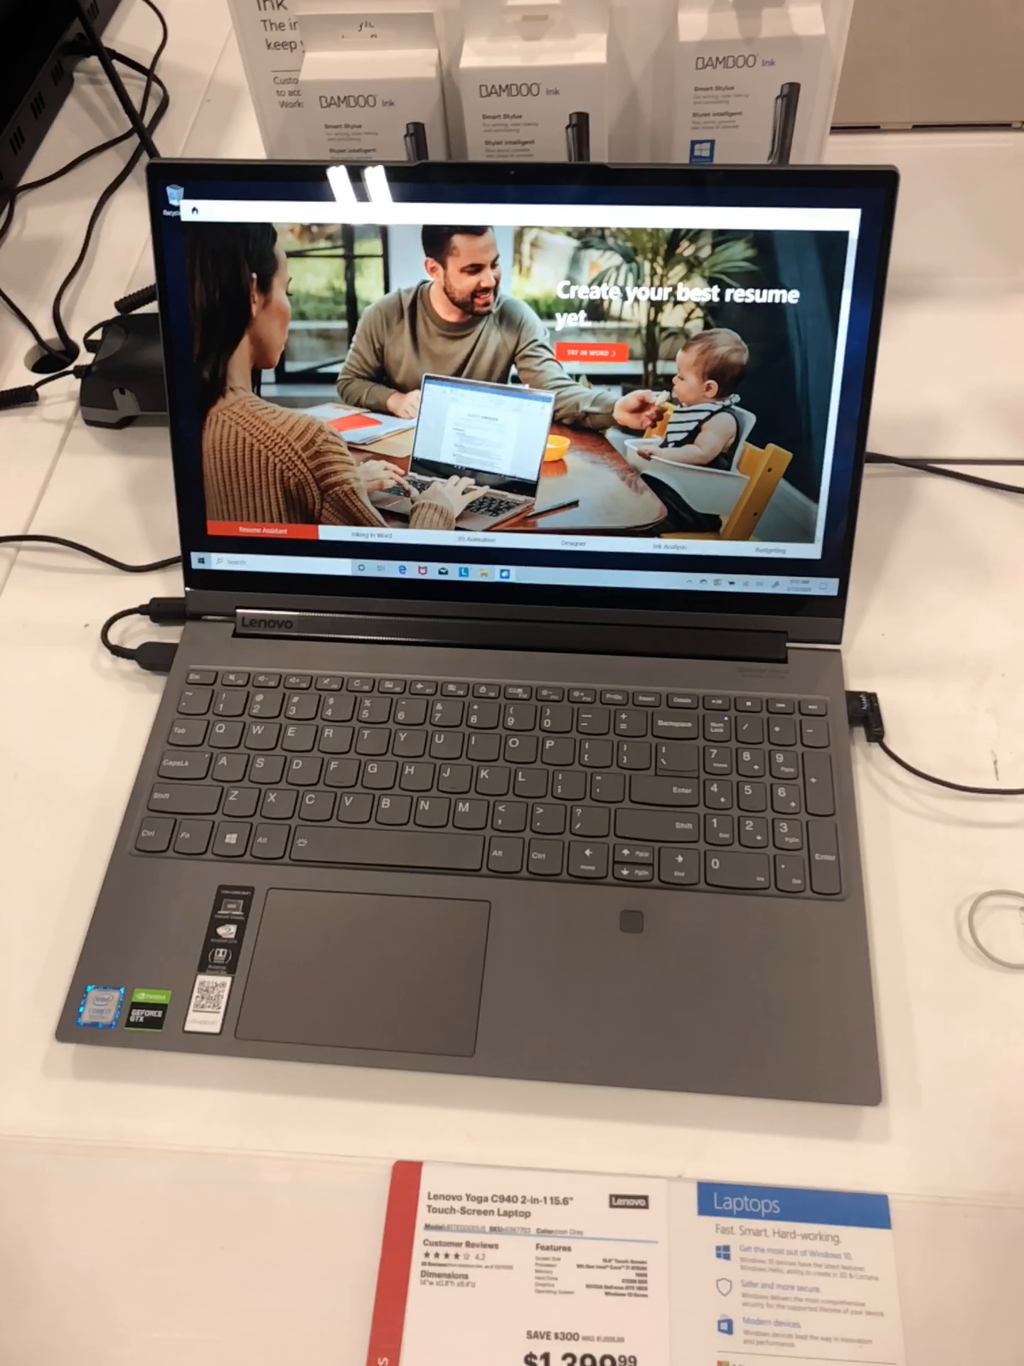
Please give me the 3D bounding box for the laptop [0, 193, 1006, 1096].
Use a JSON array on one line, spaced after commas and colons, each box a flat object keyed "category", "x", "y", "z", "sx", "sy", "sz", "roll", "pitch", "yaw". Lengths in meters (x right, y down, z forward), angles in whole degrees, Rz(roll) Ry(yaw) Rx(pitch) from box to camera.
[{"category": "laptop", "x": -0.010, "y": -0.035, "z": 0.515, "sx": 0.345, "sy": 0.189, "sz": 0.369, "roll": 3, "pitch": 55, "yaw": 5}]
